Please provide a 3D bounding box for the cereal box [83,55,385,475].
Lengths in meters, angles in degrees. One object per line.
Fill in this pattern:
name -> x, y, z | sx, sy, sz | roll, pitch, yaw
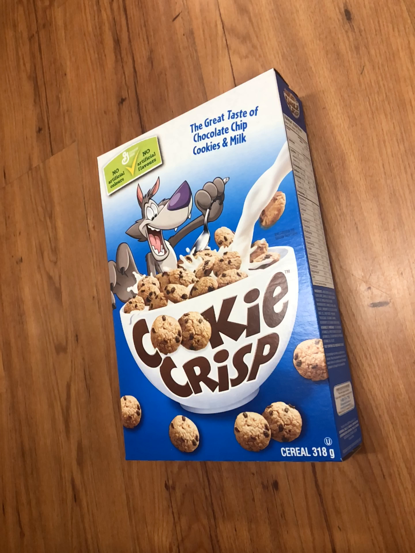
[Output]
cereal box -> 0.005, 0.005, 0.374 | 0.201, 0.060, 0.280 | -15, 79, 32
